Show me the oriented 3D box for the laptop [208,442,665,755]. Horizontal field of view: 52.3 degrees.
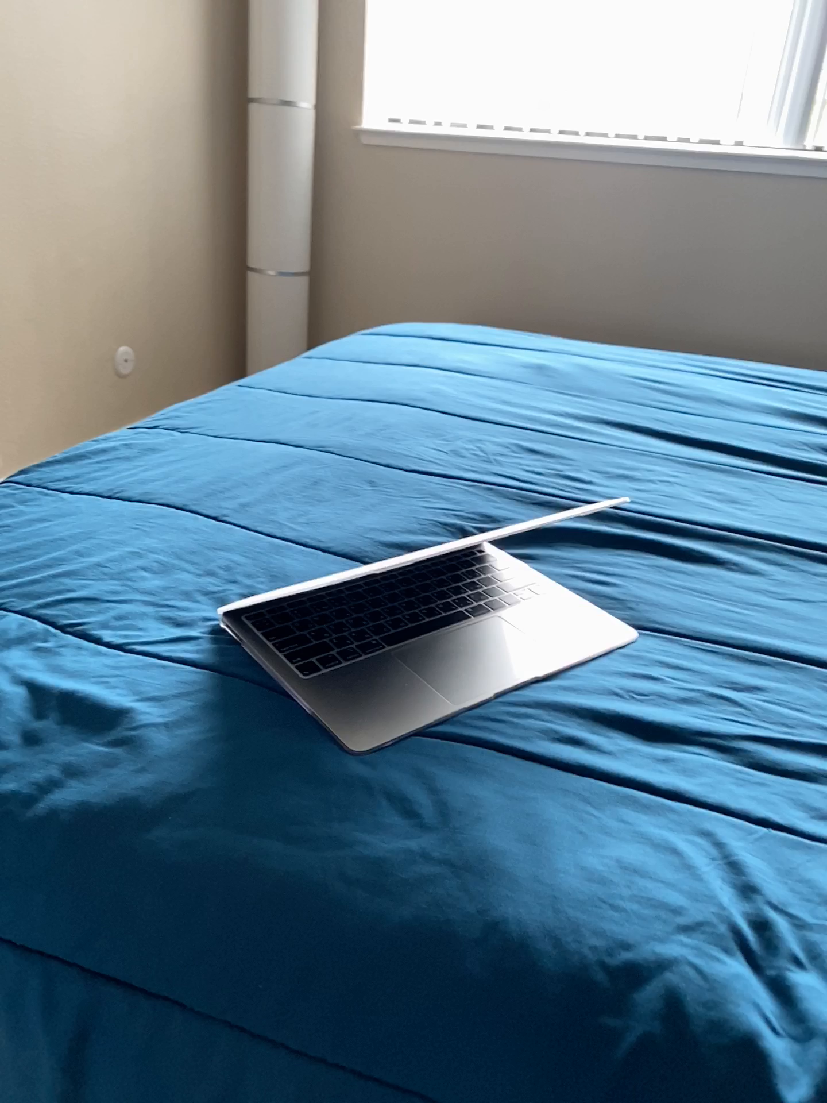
[{"bbox_3d":[0.019,0.015,0.730,0.311,0.106,0.219,-16,34,-34],"label":"laptop"}]
